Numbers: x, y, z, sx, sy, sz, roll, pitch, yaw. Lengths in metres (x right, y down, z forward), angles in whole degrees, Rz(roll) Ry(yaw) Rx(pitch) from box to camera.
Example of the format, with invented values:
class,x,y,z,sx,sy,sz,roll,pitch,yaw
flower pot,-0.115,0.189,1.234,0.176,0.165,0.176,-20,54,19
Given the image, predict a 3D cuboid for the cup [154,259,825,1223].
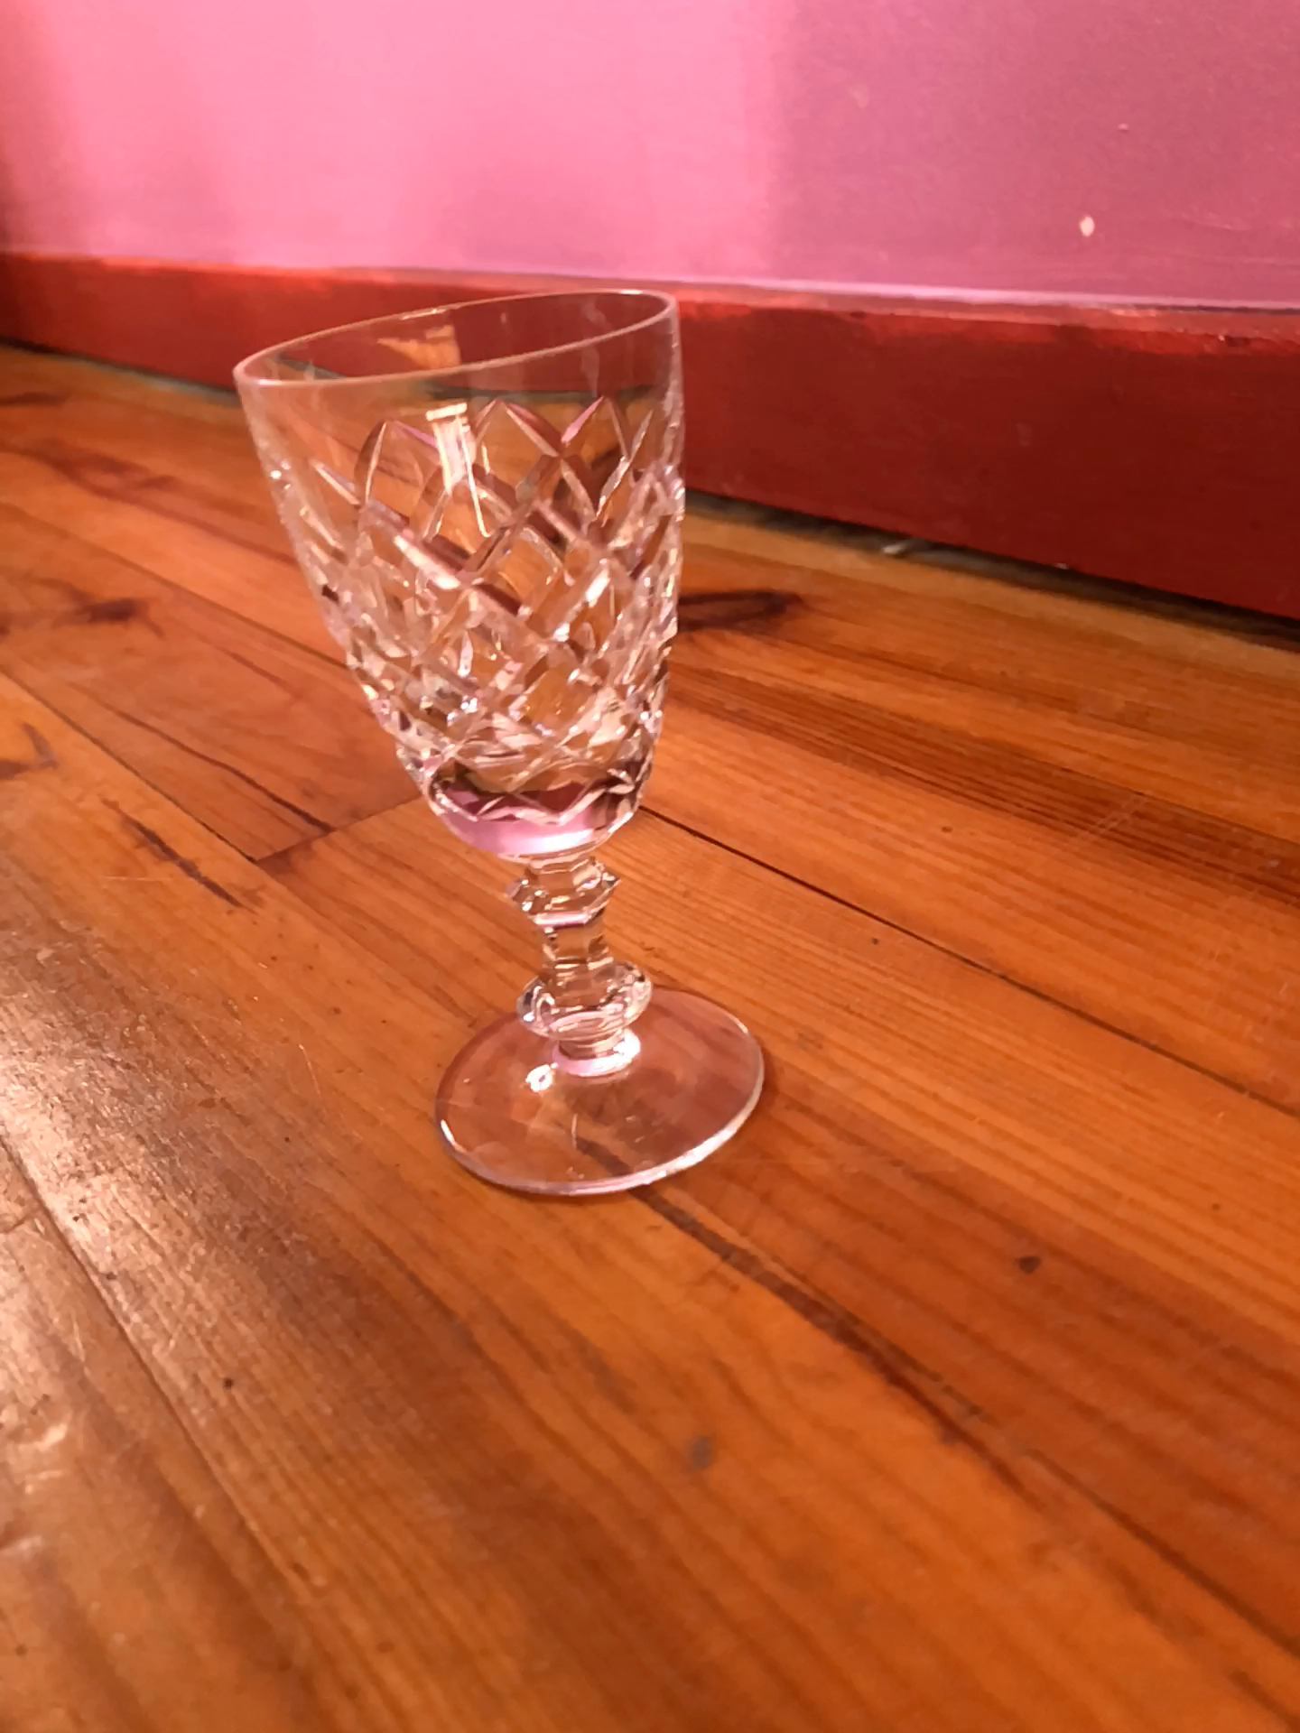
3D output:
class,x,y,z,sx,sy,sz,roll,pitch,yaw
cup,-0.012,-0.017,0.199,0.056,0.113,0.060,-7,27,3
